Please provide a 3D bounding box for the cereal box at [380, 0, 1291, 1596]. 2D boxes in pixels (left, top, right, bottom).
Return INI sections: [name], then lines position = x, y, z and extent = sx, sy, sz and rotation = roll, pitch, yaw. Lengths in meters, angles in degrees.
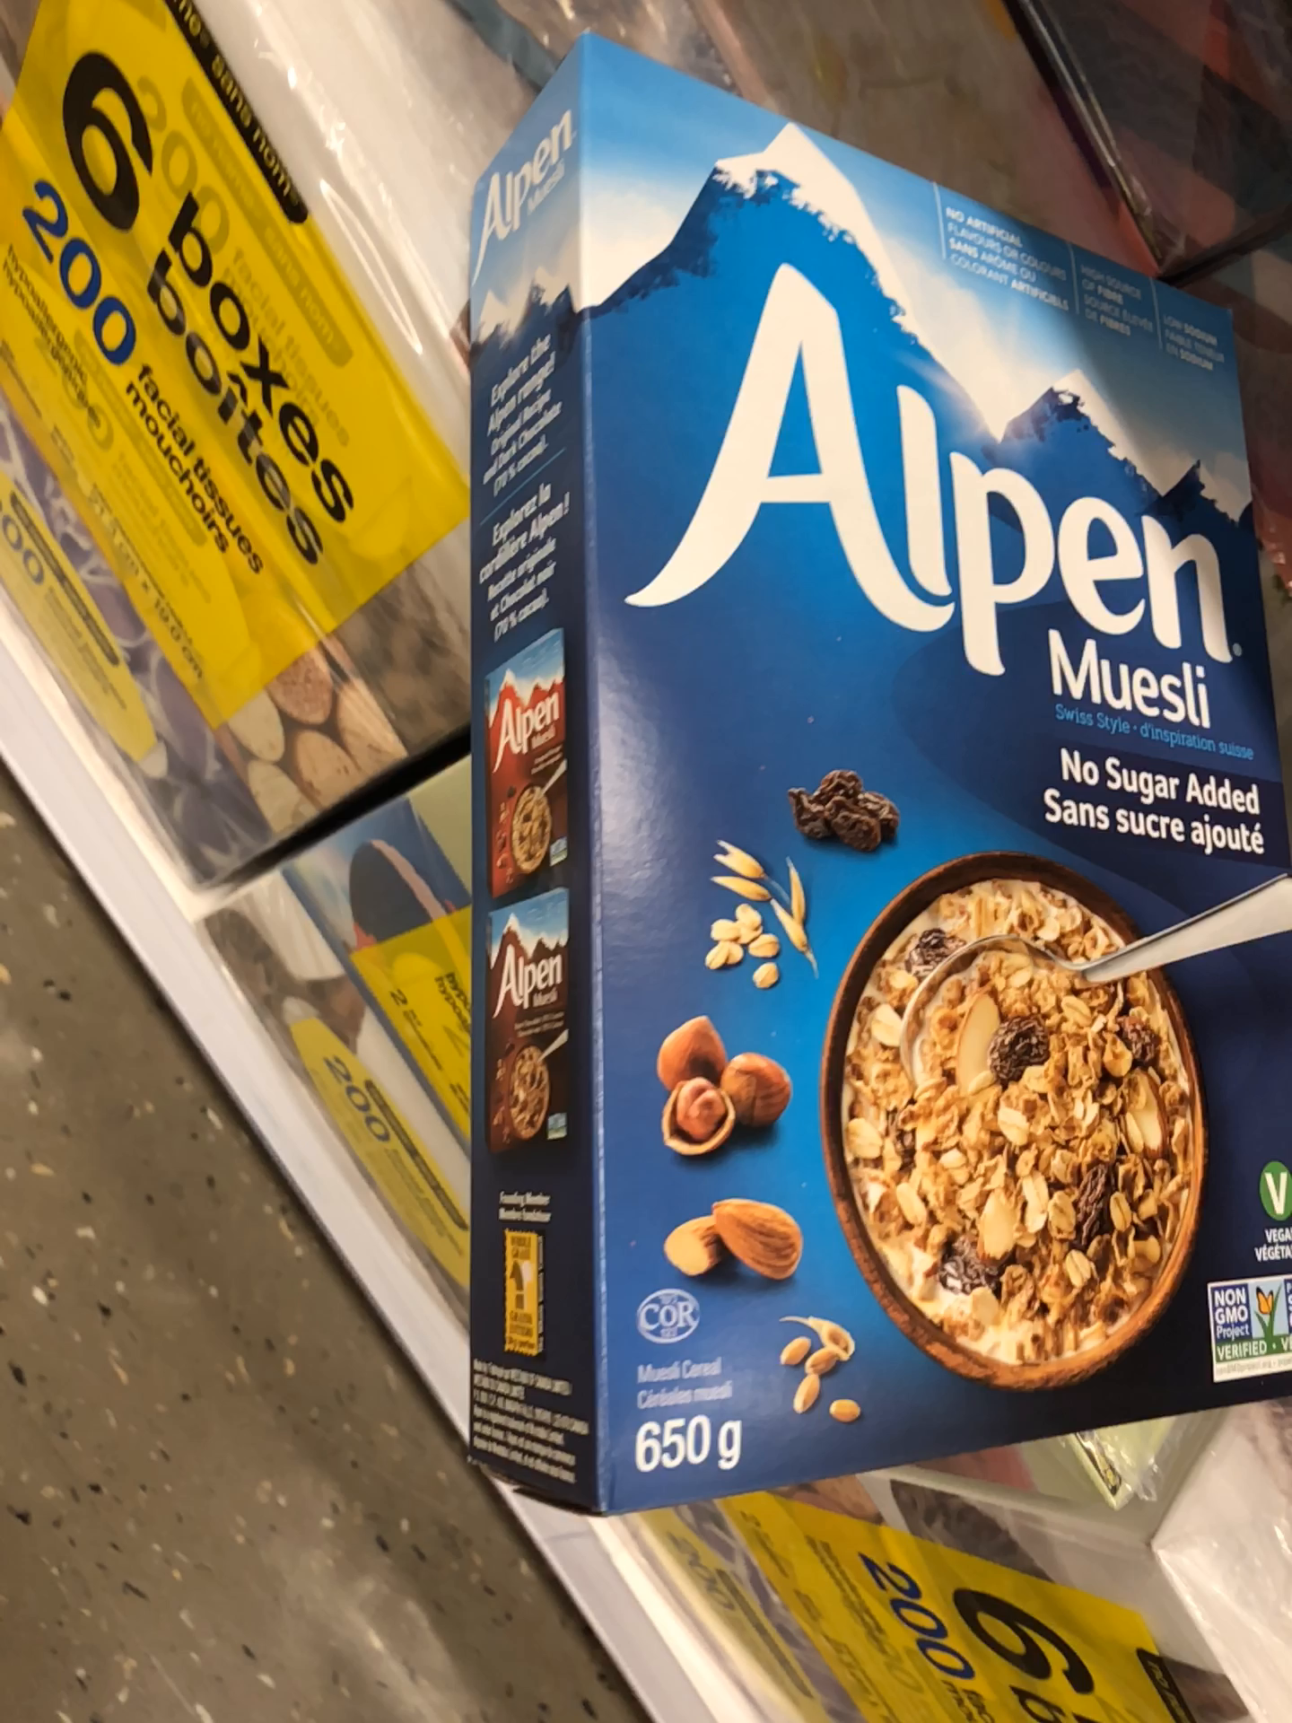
[cereal box]
position = 0.054, -0.017, 0.281
extent = 0.201, 0.050, 0.250
rotation = 5, 77, -31
